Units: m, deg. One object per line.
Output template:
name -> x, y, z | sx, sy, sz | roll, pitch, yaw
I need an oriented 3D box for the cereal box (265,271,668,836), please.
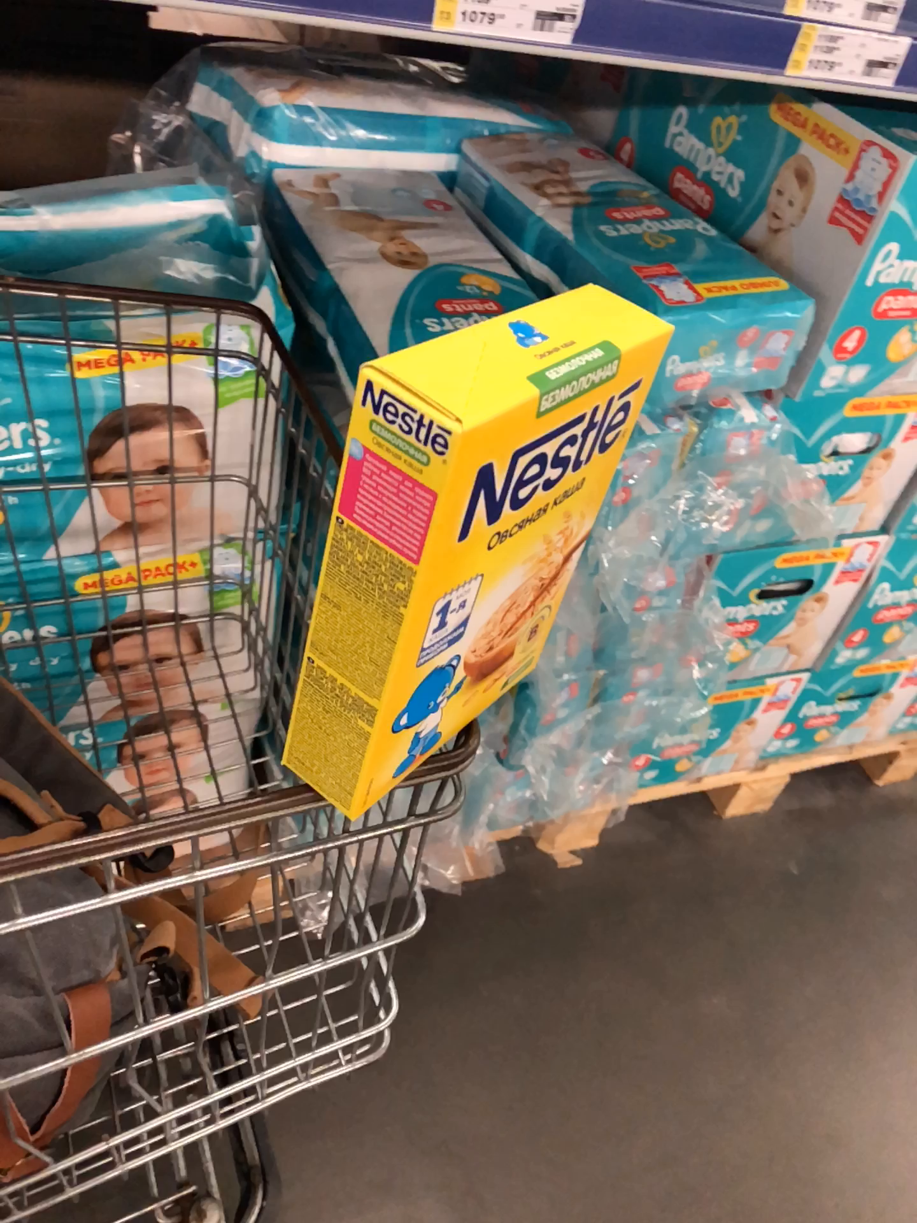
cereal box -> 0.000, -0.023, 0.414 | 0.040, 0.199, 0.151 | 34, 41, 19
